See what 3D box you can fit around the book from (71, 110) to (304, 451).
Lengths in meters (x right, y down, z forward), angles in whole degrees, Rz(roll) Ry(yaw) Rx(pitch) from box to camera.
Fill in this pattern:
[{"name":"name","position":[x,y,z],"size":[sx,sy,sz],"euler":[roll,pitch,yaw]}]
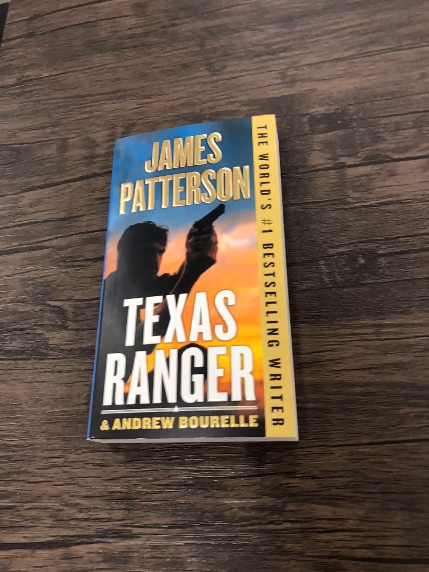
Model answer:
[{"name":"book","position":[-0.012,-0.006,0.266],"size":[0.107,0.040,0.181],"euler":[-5,67,10]}]
